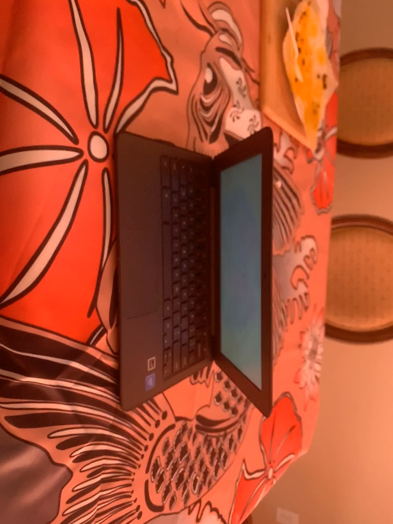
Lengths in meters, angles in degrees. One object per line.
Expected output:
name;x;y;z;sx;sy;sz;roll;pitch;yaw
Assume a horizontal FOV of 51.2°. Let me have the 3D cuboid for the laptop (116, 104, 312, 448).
laptop;0.035;0.009;0.482;0.212;0.144;0.299;-8;99;-59
